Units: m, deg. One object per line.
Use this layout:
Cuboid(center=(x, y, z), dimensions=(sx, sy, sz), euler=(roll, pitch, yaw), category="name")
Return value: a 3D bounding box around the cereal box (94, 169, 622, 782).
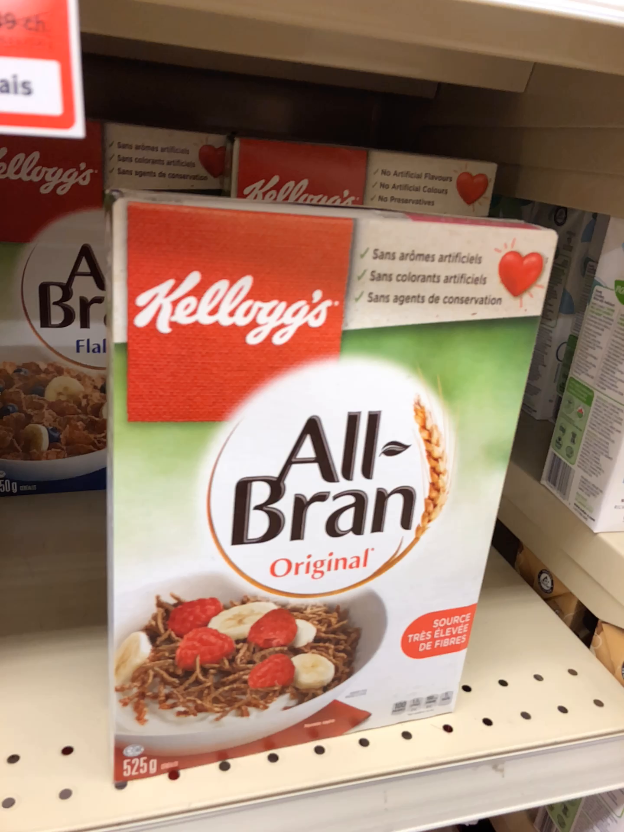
Cuboid(center=(0.008, 0.030, 0.296), dimensions=(0.190, 0.238, 0.050), euler=(-2, 23, -20), category="cereal box")
